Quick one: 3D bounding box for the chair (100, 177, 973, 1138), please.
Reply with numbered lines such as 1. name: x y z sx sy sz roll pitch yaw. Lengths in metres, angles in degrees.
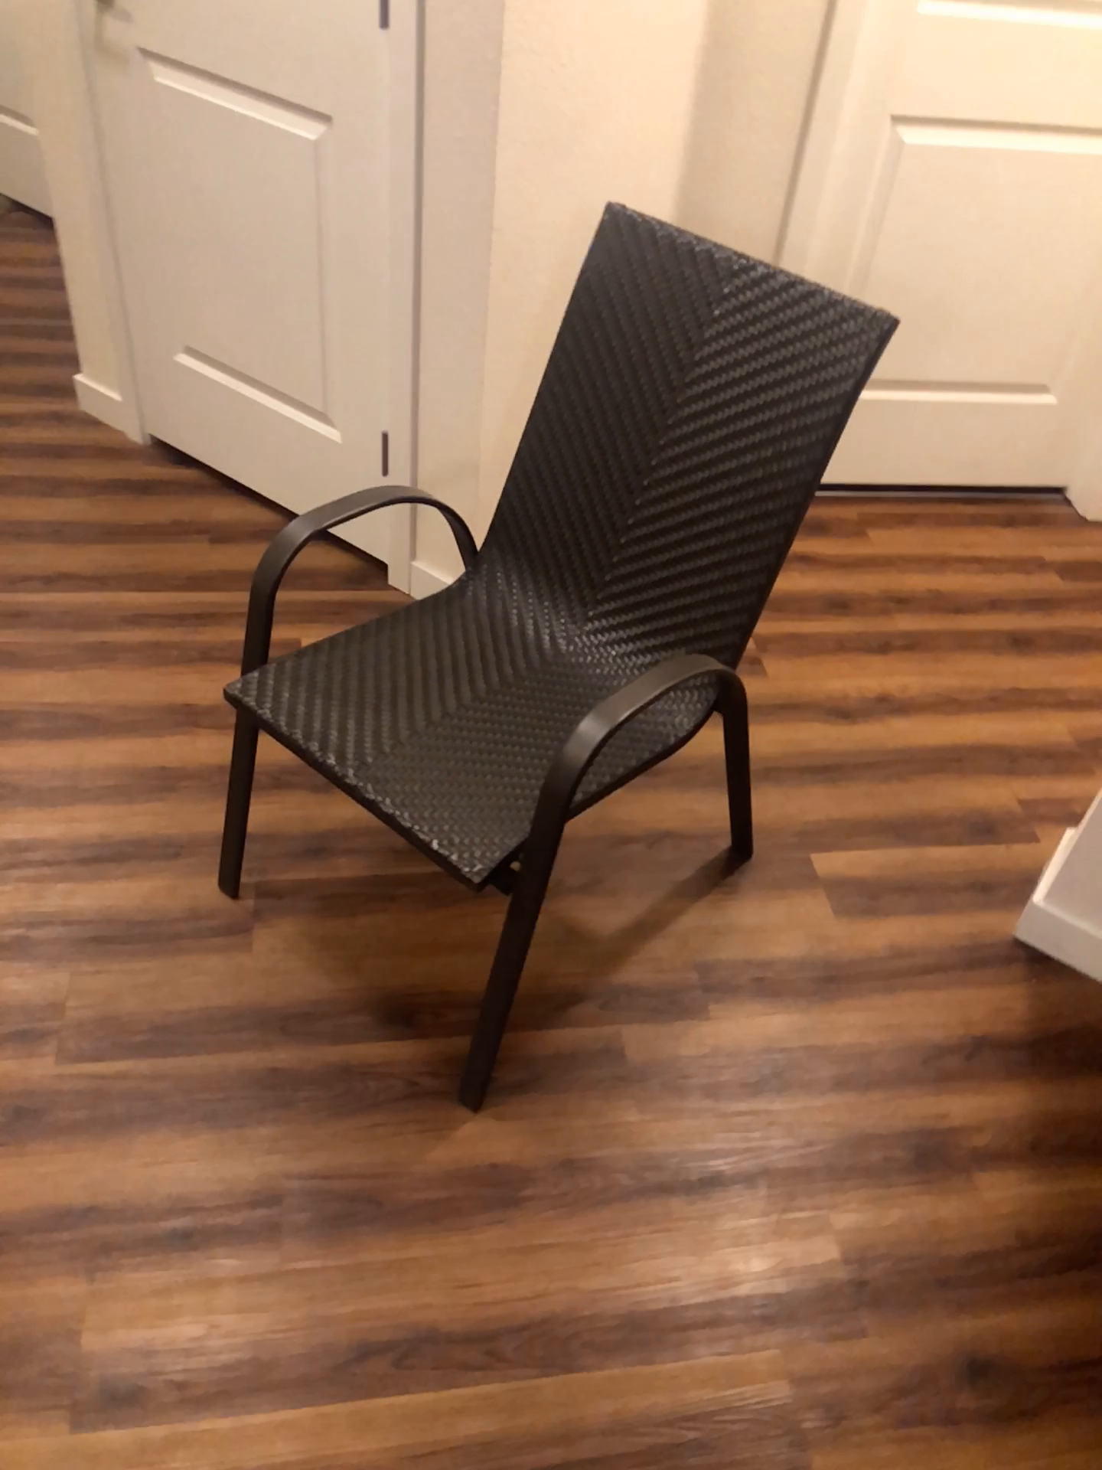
1. chair: -0.025 -0.134 1.577 0.598 0.853 0.750 34 47 27
